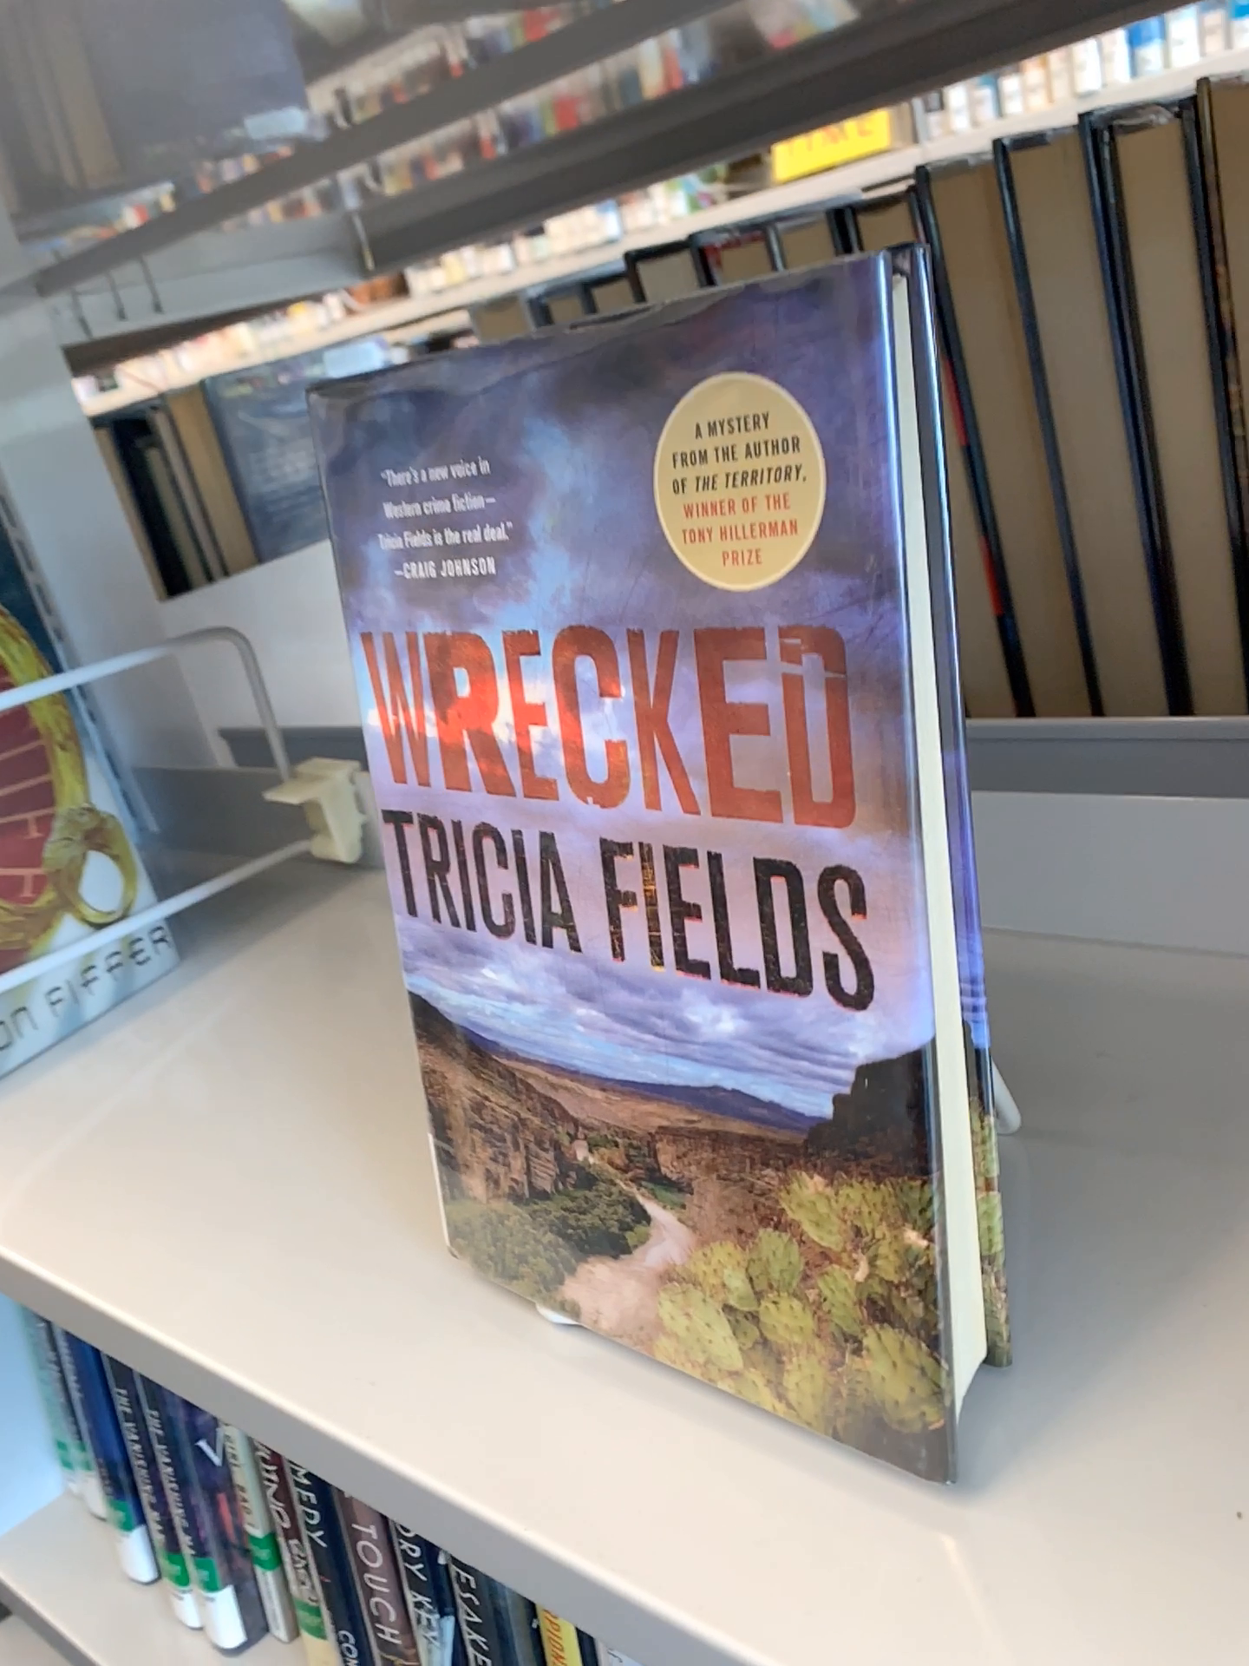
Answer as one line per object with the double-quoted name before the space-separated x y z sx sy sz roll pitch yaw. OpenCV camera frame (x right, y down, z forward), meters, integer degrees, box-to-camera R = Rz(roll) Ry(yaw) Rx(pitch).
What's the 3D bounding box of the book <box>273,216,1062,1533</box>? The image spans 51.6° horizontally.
"book" 0.004 0.009 0.263 0.151 0.214 0.034 6 19 43
